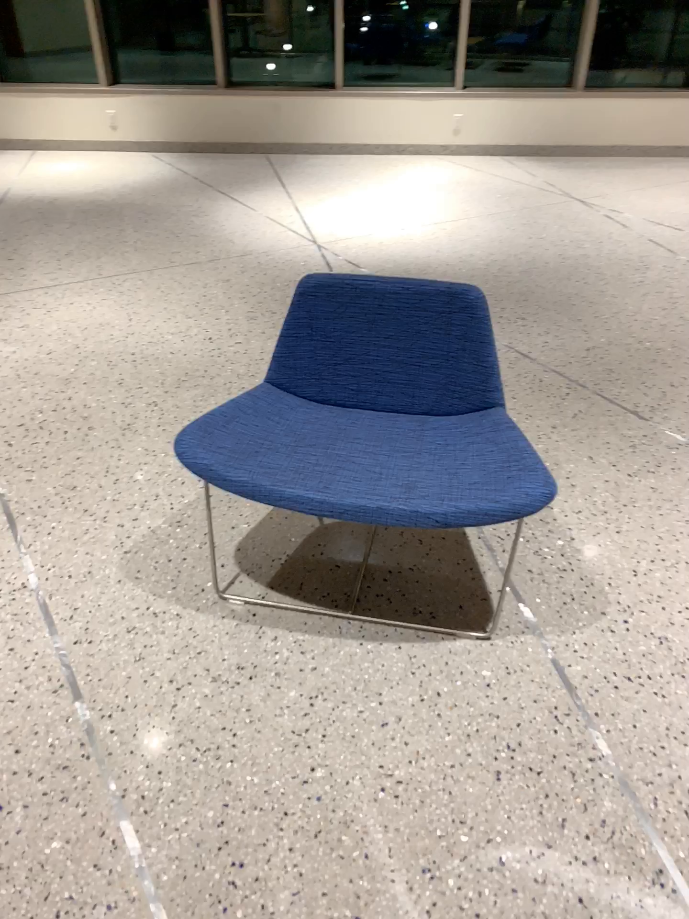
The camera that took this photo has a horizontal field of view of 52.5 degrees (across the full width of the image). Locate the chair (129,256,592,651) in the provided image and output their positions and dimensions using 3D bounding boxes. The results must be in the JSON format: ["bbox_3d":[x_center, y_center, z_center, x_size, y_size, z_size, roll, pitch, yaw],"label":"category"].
[{"bbox_3d":[0.072,-0.058,1.862,0.941,0.698,0.667,7,35,10],"label":"chair"}]
